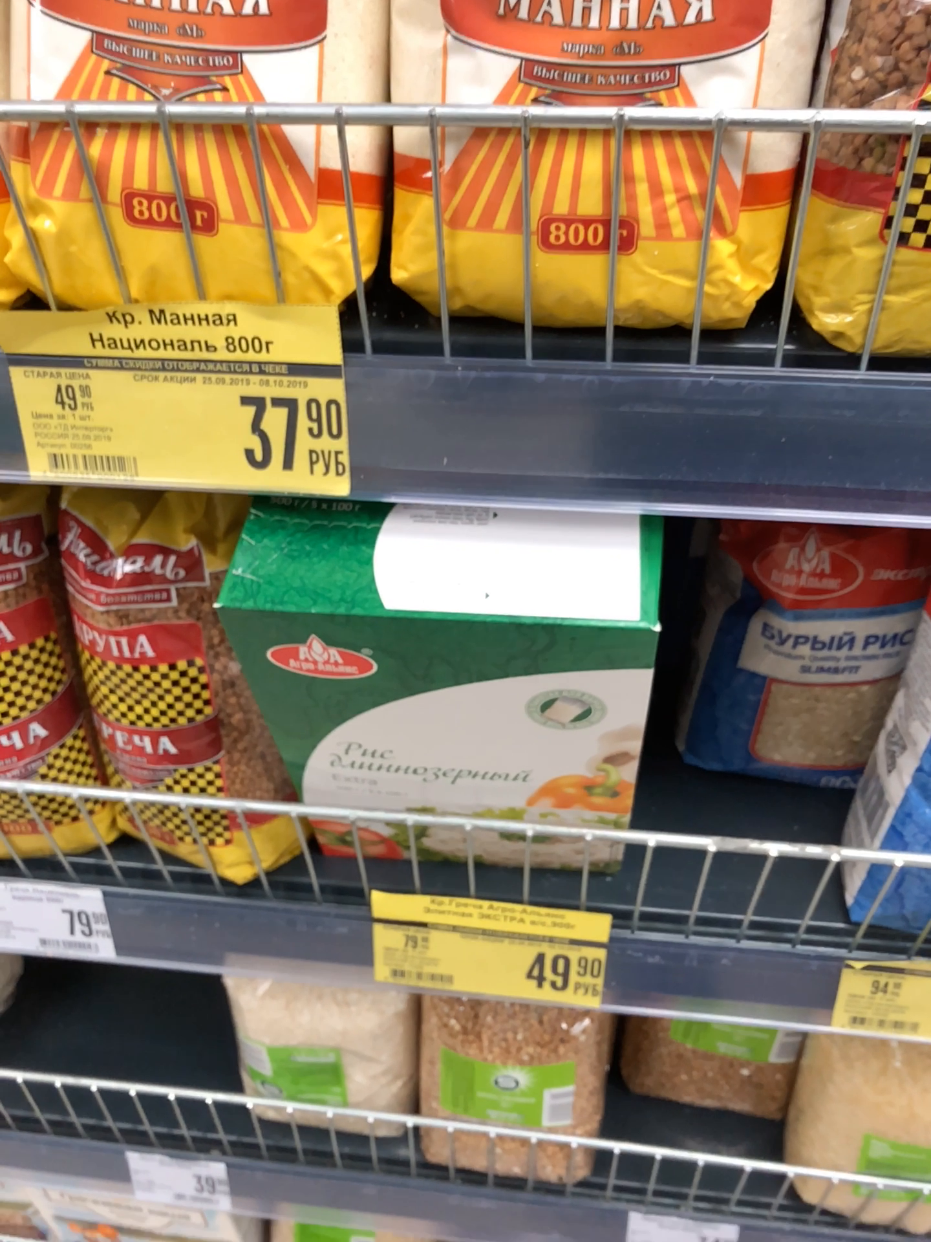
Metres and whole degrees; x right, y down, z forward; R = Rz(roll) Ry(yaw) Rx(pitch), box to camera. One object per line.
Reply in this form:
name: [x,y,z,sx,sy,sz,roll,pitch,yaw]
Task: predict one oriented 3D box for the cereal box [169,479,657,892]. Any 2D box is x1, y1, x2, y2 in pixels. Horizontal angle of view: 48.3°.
cereal box: [-0.008,0.037,0.395,0.140,0.209,0.050,3,57,7]
